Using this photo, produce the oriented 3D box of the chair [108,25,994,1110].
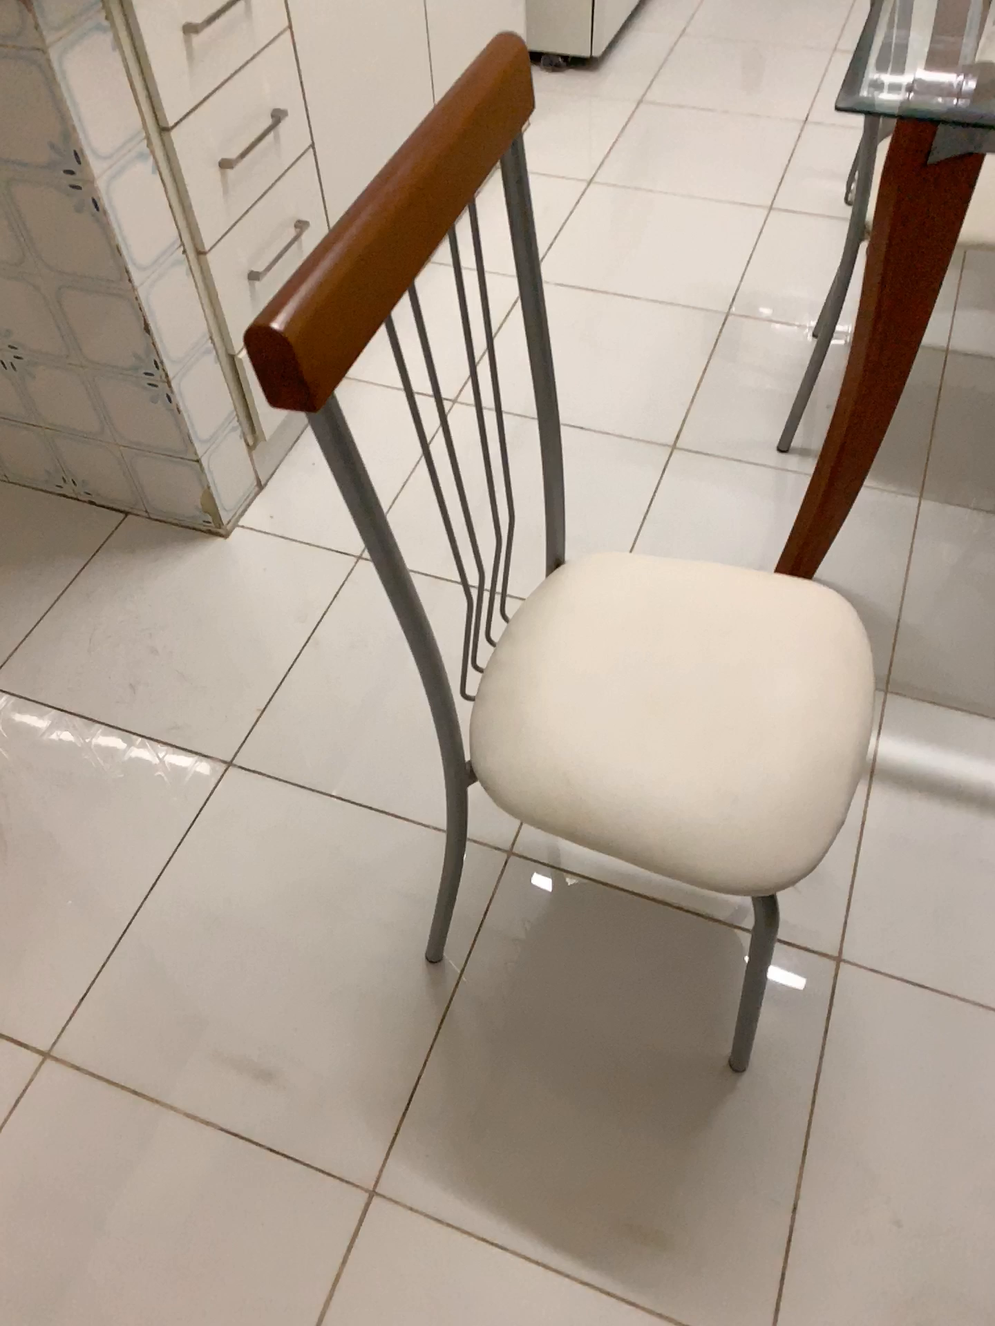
[{"bbox_3d":[0.125,-0.013,0.989,0.510,0.886,0.482,16,55,15],"label":"chair"}]
